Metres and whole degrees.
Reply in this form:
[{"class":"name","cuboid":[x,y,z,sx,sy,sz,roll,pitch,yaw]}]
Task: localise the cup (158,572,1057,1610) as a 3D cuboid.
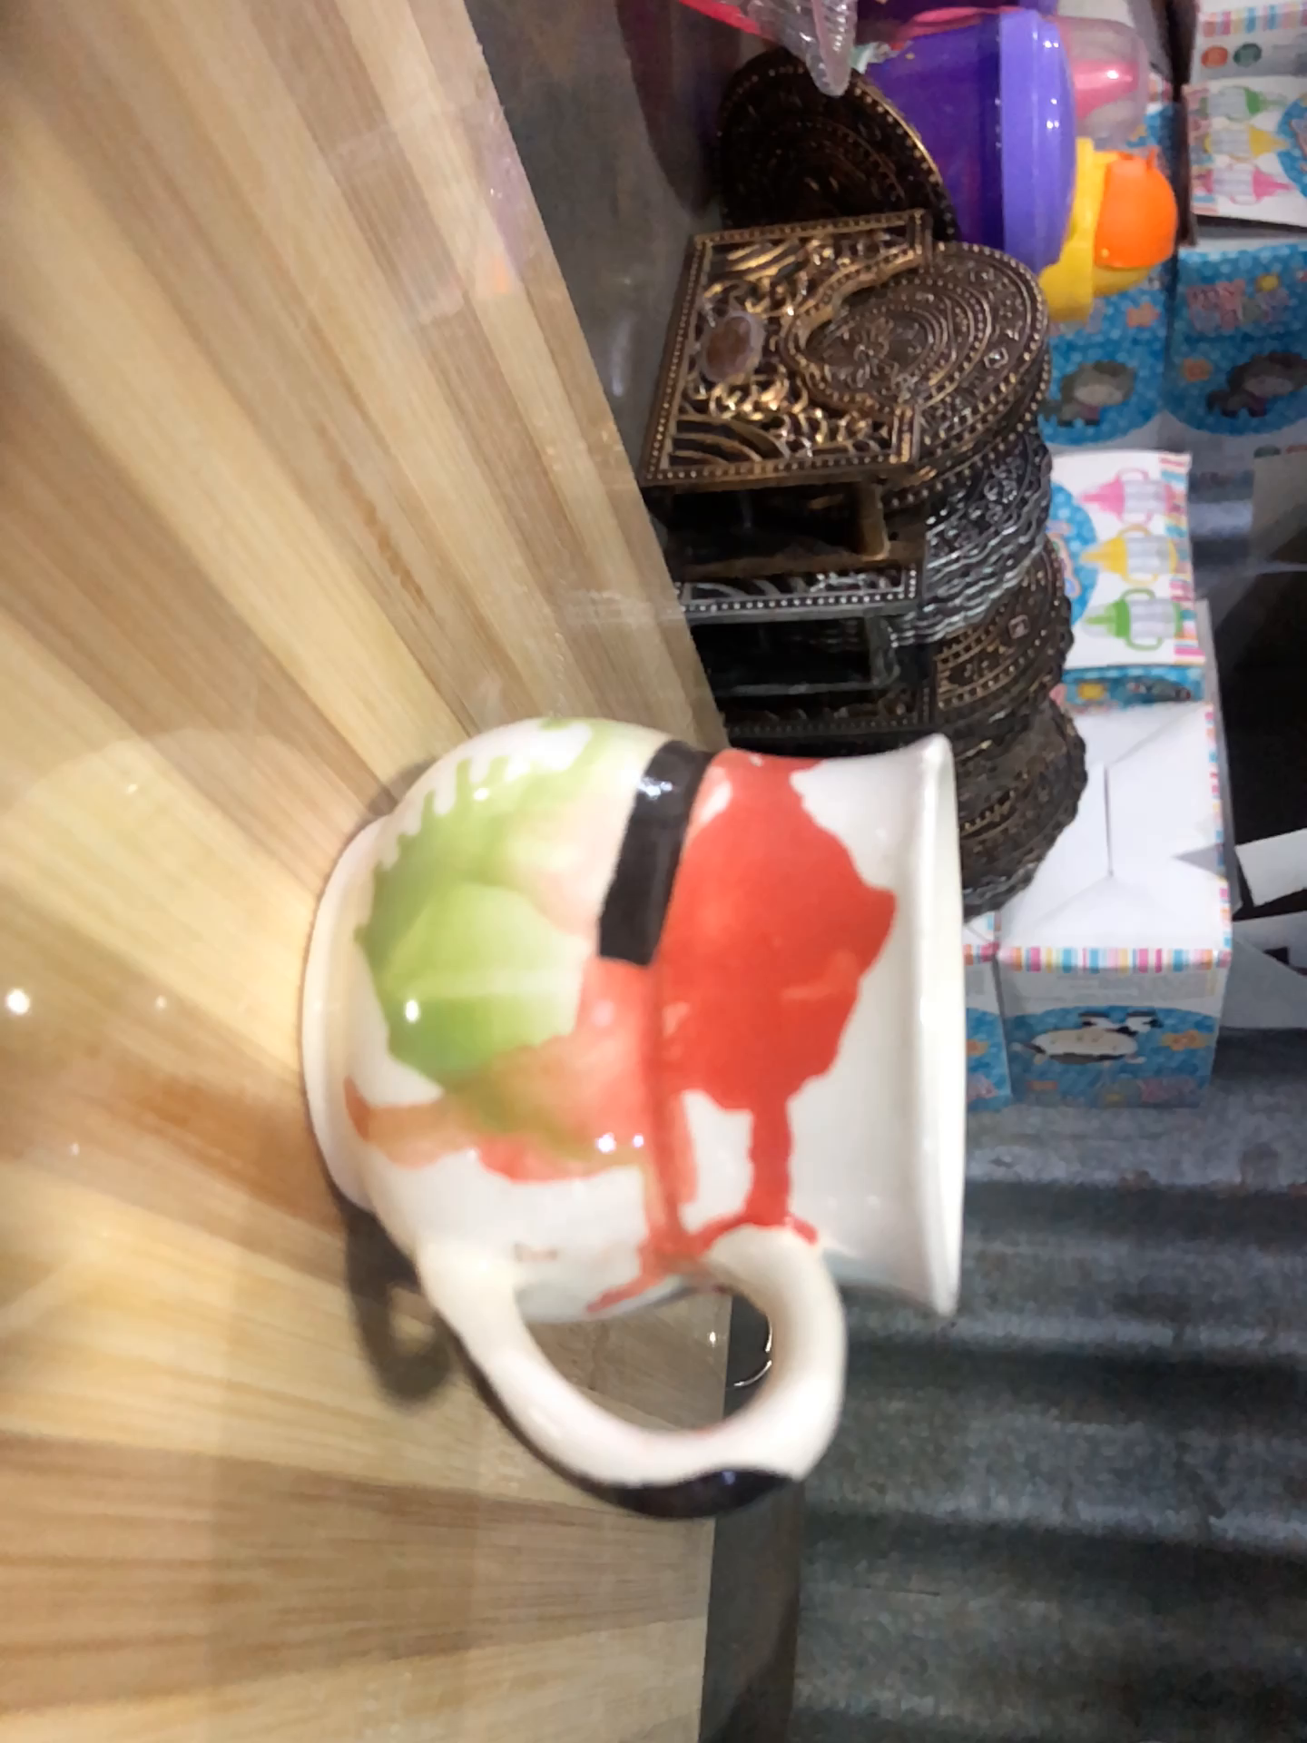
[{"class":"cup","cuboid":[0.005,0.023,0.157,0.060,0.070,0.090,71,23,-57]}]
